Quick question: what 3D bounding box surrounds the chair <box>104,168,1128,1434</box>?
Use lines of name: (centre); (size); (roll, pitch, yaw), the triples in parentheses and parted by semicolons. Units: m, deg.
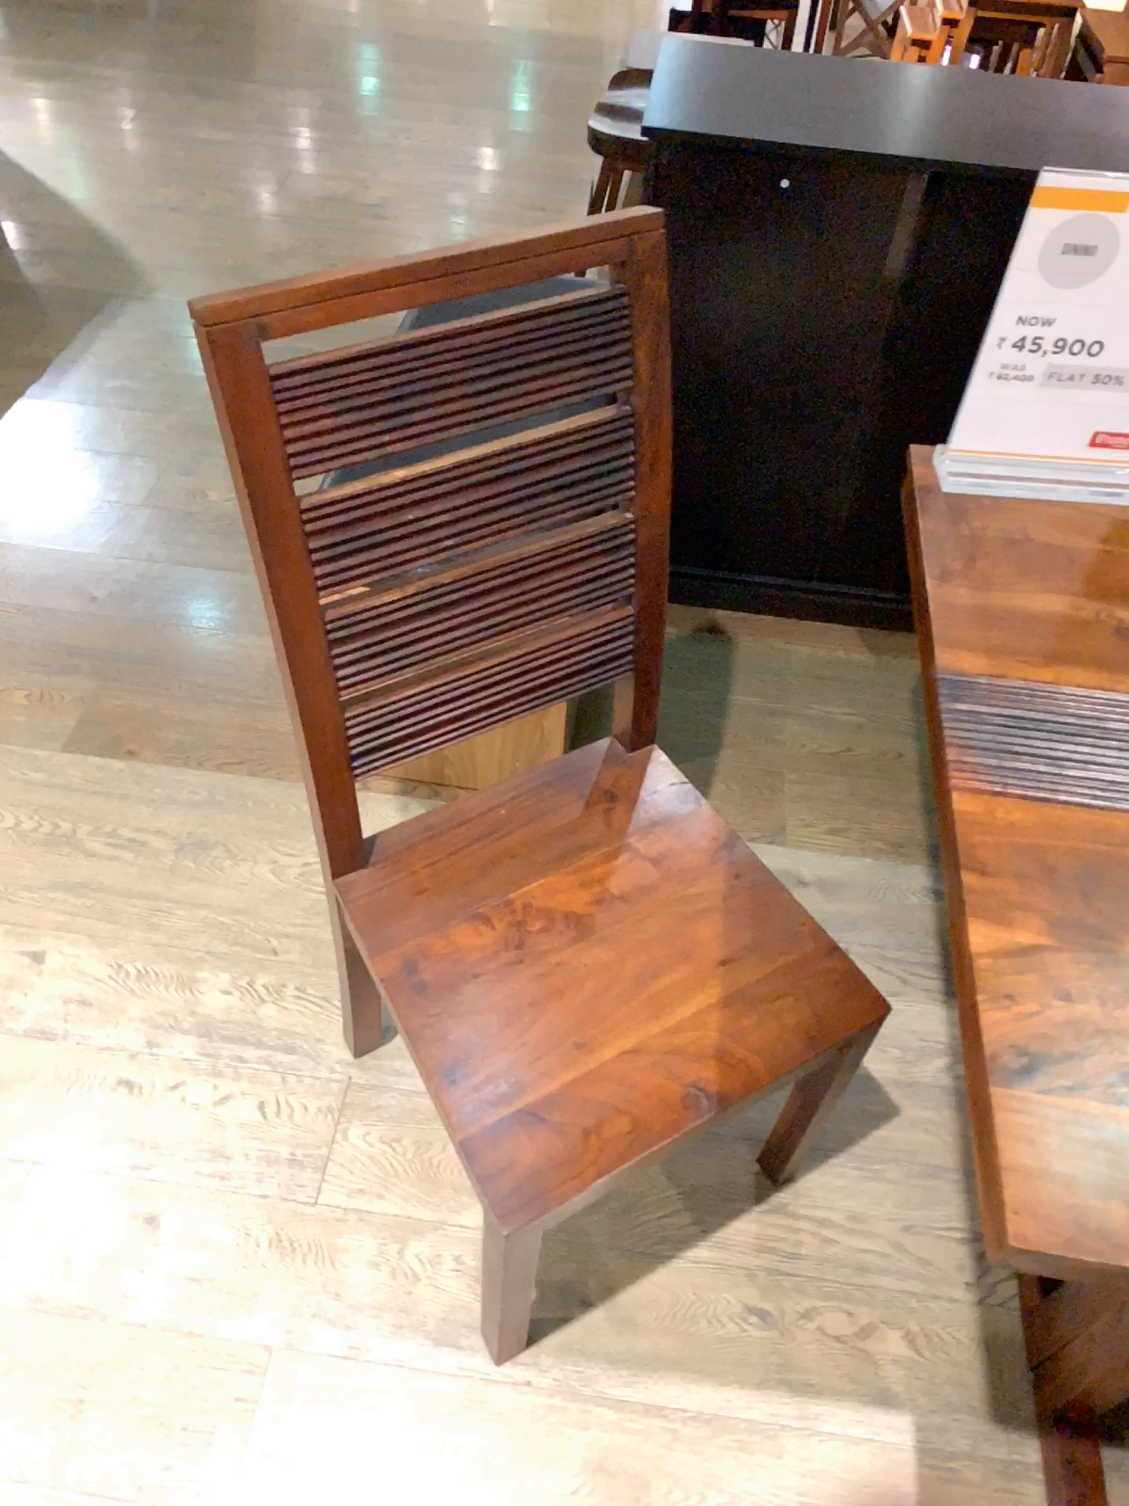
chair: (0.029, 0.112, 1.077); (0.521, 0.997, 0.531); (-23, 53, -23)
